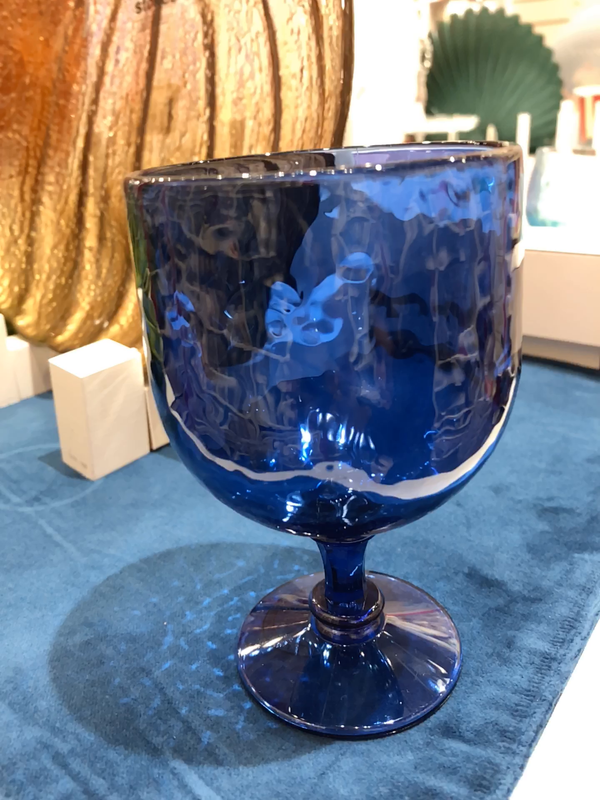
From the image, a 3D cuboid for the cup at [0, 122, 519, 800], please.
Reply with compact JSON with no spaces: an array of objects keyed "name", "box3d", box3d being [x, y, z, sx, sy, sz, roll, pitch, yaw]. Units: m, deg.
[{"name":"cup","box3d":[0.002,0.009,0.169,0.080,0.140,0.090,7,24,23]}]
